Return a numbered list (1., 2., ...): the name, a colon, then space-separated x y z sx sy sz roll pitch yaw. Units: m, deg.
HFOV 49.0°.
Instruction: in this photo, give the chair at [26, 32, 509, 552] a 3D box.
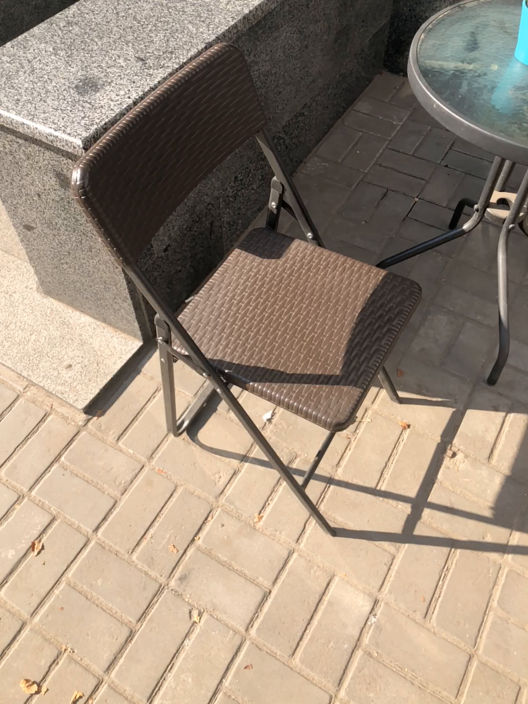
1. chair: 0.026 -0.067 1.096 0.510 0.748 0.451 24 57 17
